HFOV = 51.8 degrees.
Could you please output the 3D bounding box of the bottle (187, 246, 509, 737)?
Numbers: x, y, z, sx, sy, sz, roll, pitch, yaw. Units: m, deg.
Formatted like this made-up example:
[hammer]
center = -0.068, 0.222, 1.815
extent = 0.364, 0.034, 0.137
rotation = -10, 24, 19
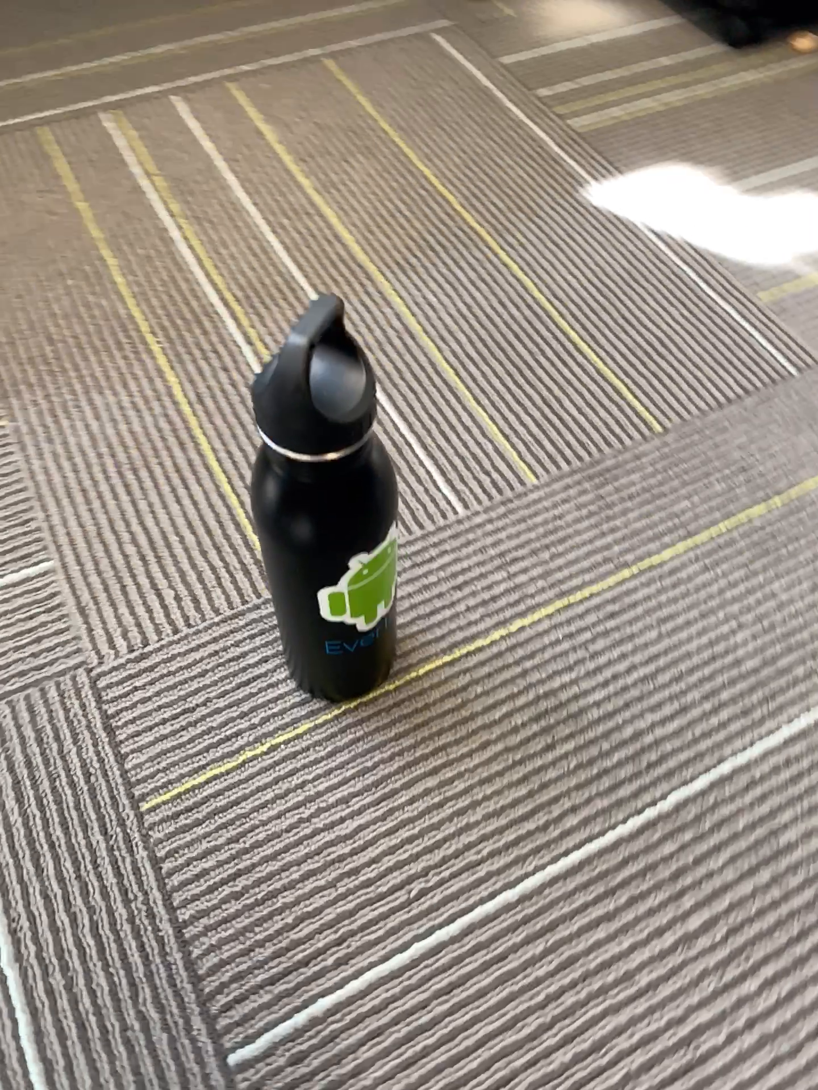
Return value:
[bottle]
center = -0.025, -0.007, 0.413
extent = 0.080, 0.239, 0.090
rotation = 36, 62, 20
